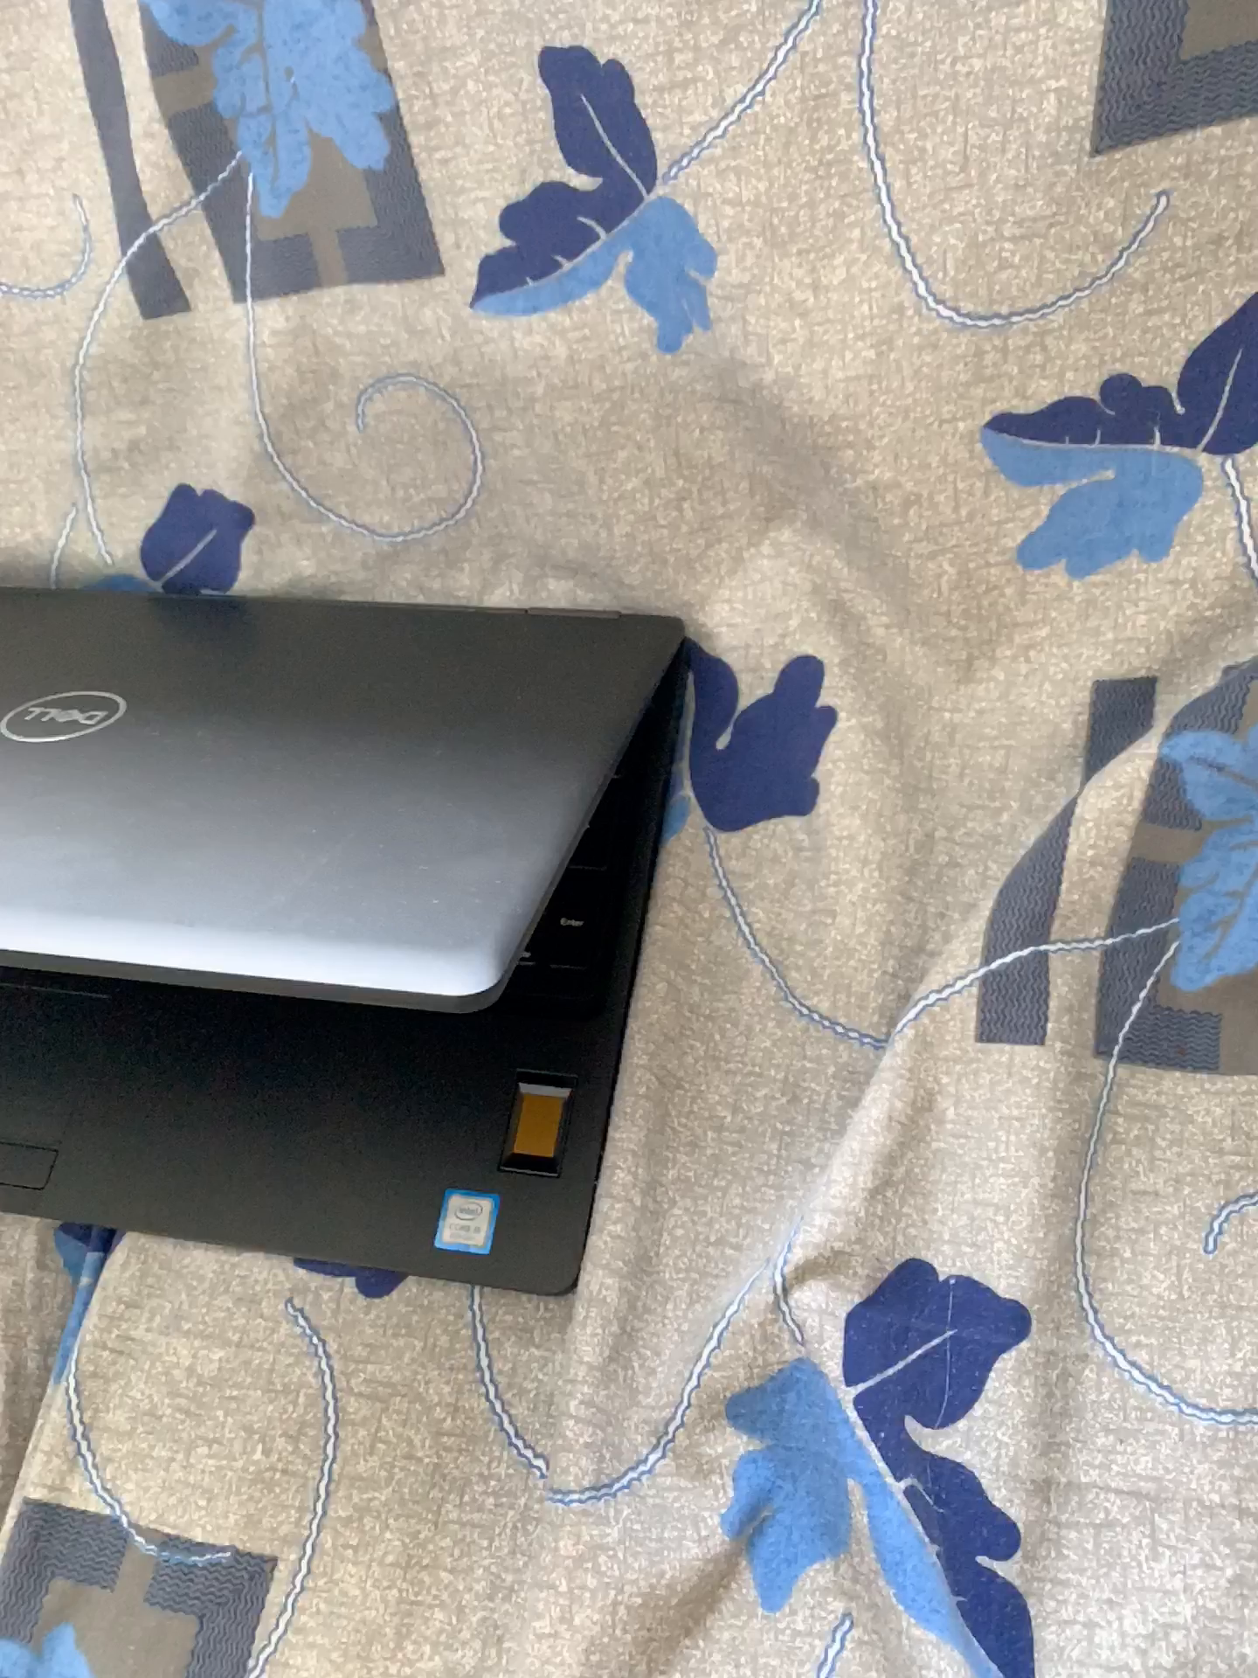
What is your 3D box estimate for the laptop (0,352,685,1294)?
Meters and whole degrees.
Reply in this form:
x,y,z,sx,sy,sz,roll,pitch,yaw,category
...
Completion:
x,y,z,sx,sy,sz,roll,pitch,yaw,category
-0.189,-0.013,0.413,0.372,0.143,0.238,4,65,12,laptop
